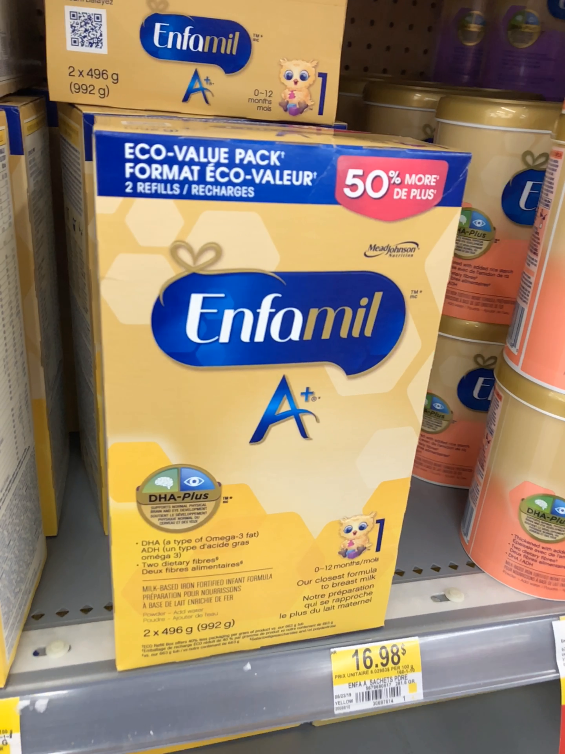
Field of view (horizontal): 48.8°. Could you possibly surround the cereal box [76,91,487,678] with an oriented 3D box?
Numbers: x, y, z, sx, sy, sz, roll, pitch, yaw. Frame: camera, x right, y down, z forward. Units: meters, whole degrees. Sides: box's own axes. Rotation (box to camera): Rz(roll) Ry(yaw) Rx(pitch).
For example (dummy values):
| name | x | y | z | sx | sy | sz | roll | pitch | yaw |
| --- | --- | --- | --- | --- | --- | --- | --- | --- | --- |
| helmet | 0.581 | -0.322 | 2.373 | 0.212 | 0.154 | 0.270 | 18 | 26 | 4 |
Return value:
| name | x | y | z | sx | sy | sz | roll | pitch | yaw |
| --- | --- | --- | --- | --- | --- | --- | --- | --- | --- |
| cereal box | -0.014 | 0.009 | 0.306 | 0.150 | 0.258 | 0.081 | -3 | 25 | -16 |
